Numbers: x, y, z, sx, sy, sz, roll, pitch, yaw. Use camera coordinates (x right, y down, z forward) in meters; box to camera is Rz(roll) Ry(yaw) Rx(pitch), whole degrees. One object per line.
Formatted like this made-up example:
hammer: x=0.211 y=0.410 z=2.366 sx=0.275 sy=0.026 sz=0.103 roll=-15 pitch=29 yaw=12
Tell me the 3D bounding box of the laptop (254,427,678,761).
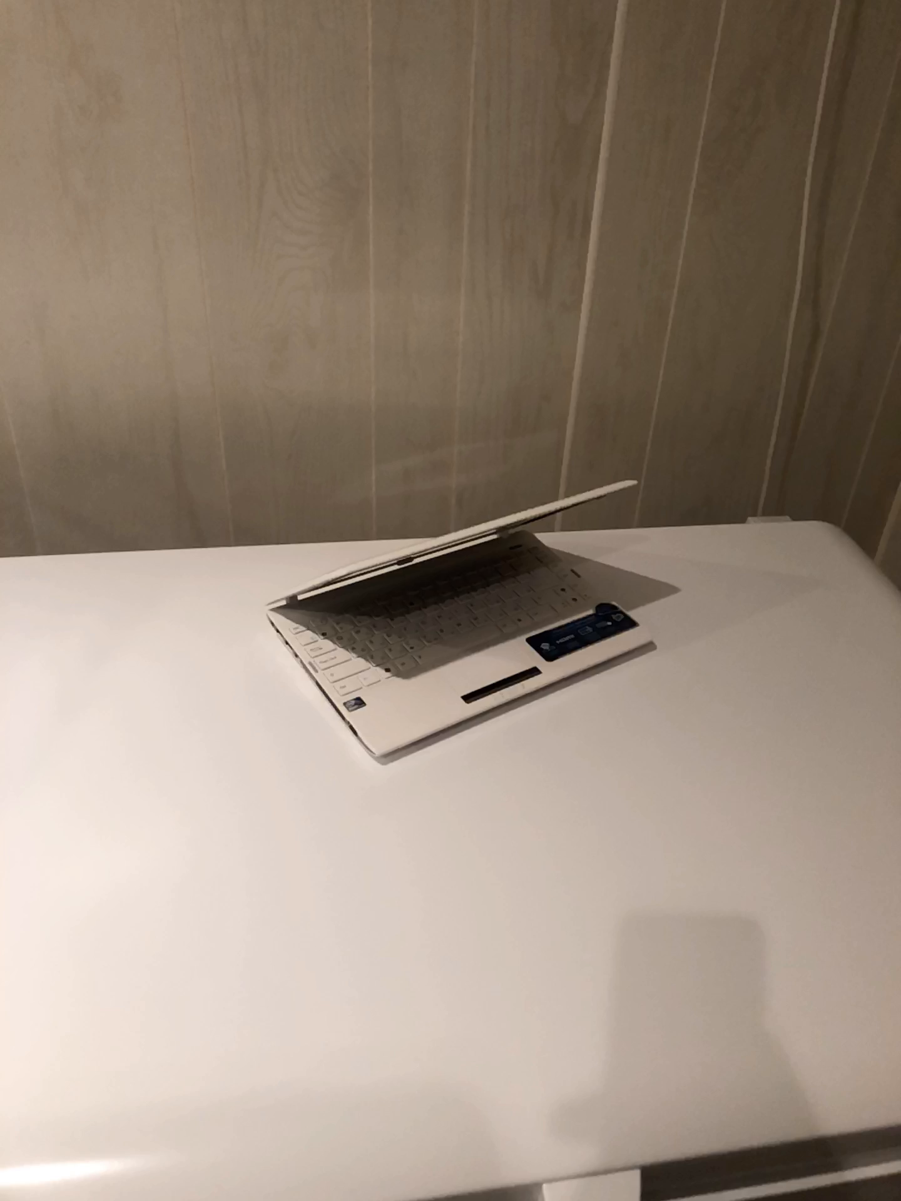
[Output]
laptop: x=0.013 y=-0.022 z=0.873 sx=0.299 sy=0.115 sz=0.198 roll=-20 pitch=45 yaw=-29
